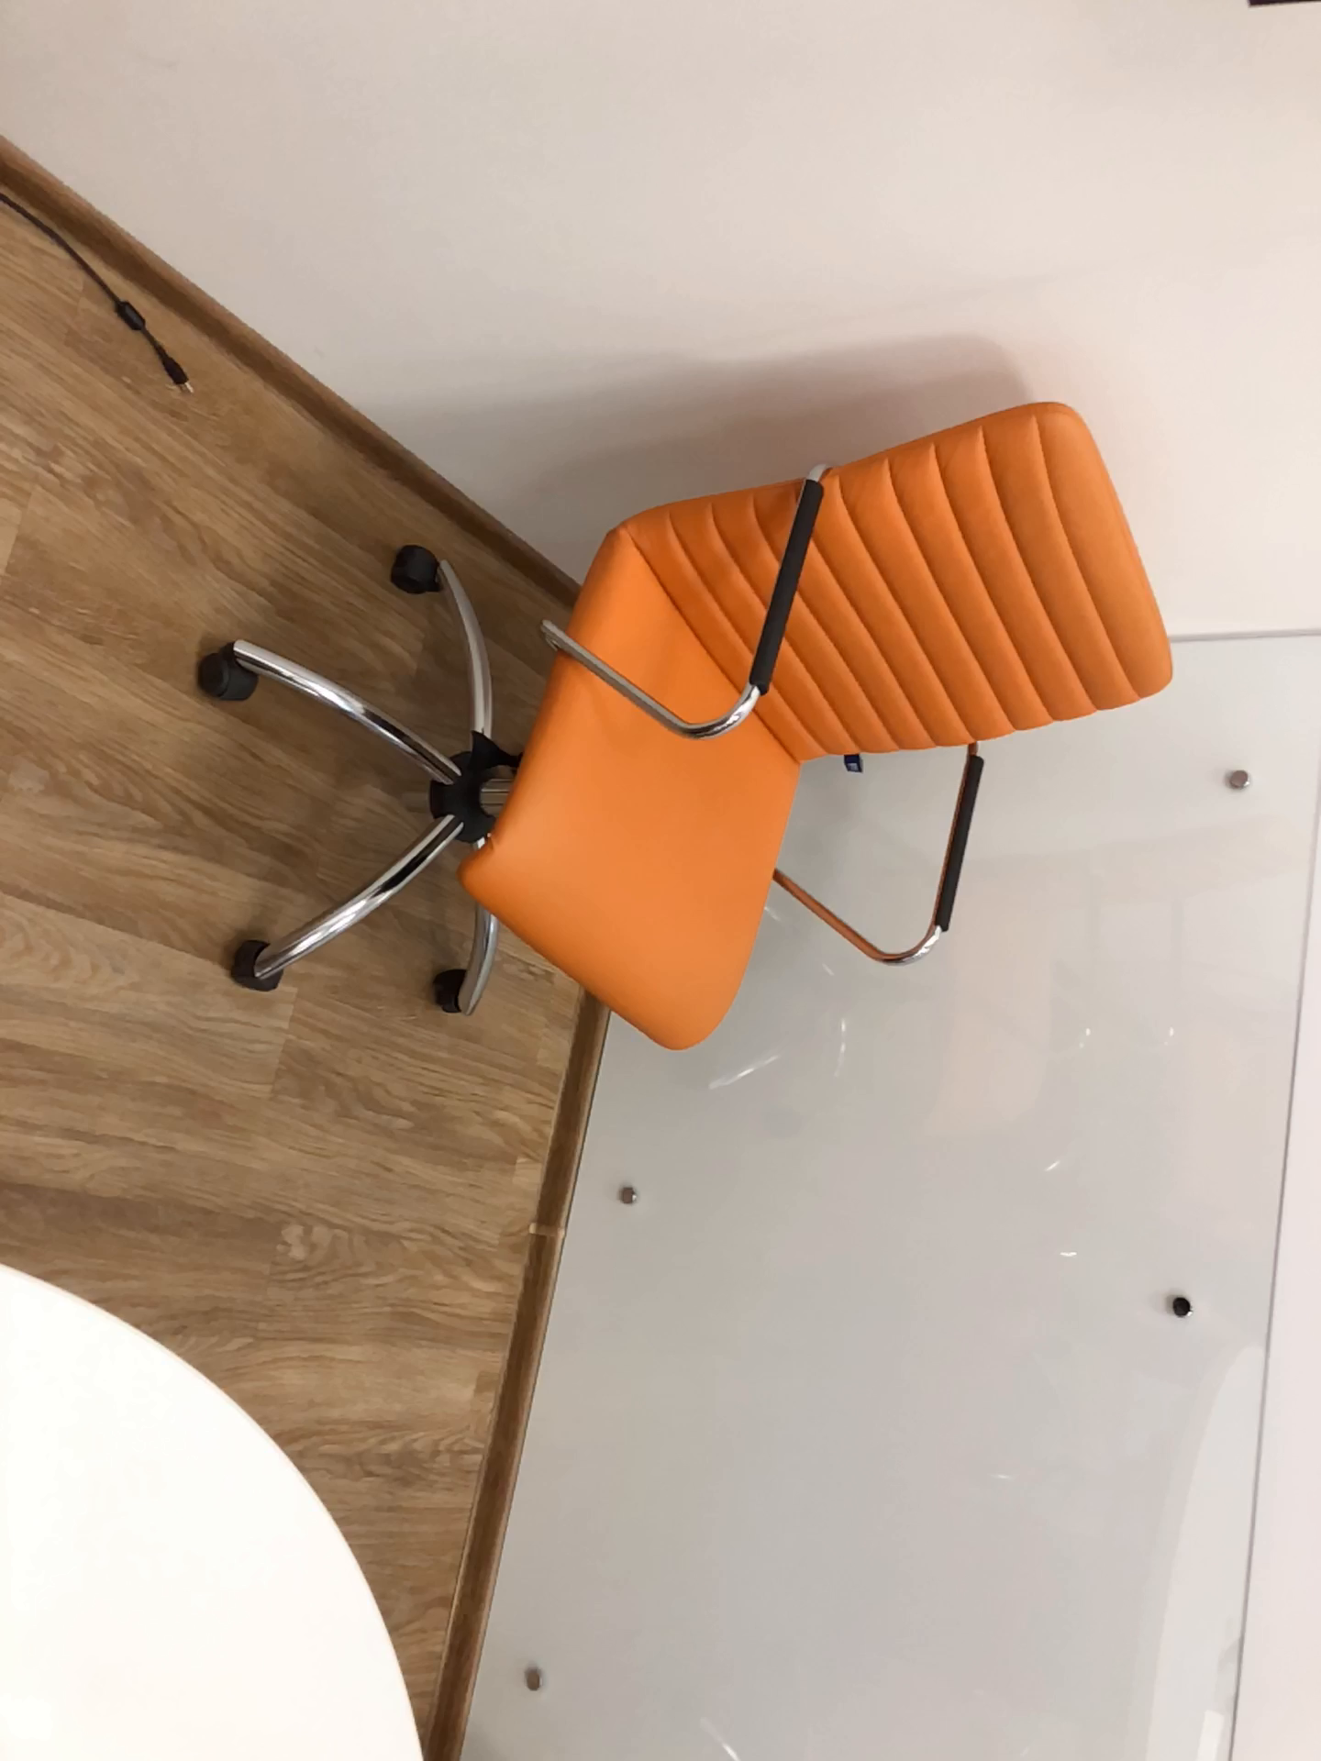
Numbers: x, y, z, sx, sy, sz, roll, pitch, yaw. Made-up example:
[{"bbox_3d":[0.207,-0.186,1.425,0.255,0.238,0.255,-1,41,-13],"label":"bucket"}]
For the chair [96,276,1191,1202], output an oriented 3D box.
[{"bbox_3d":[0.018,-0.104,1.606,0.623,0.895,0.661,37,61,-51],"label":"chair"}]
